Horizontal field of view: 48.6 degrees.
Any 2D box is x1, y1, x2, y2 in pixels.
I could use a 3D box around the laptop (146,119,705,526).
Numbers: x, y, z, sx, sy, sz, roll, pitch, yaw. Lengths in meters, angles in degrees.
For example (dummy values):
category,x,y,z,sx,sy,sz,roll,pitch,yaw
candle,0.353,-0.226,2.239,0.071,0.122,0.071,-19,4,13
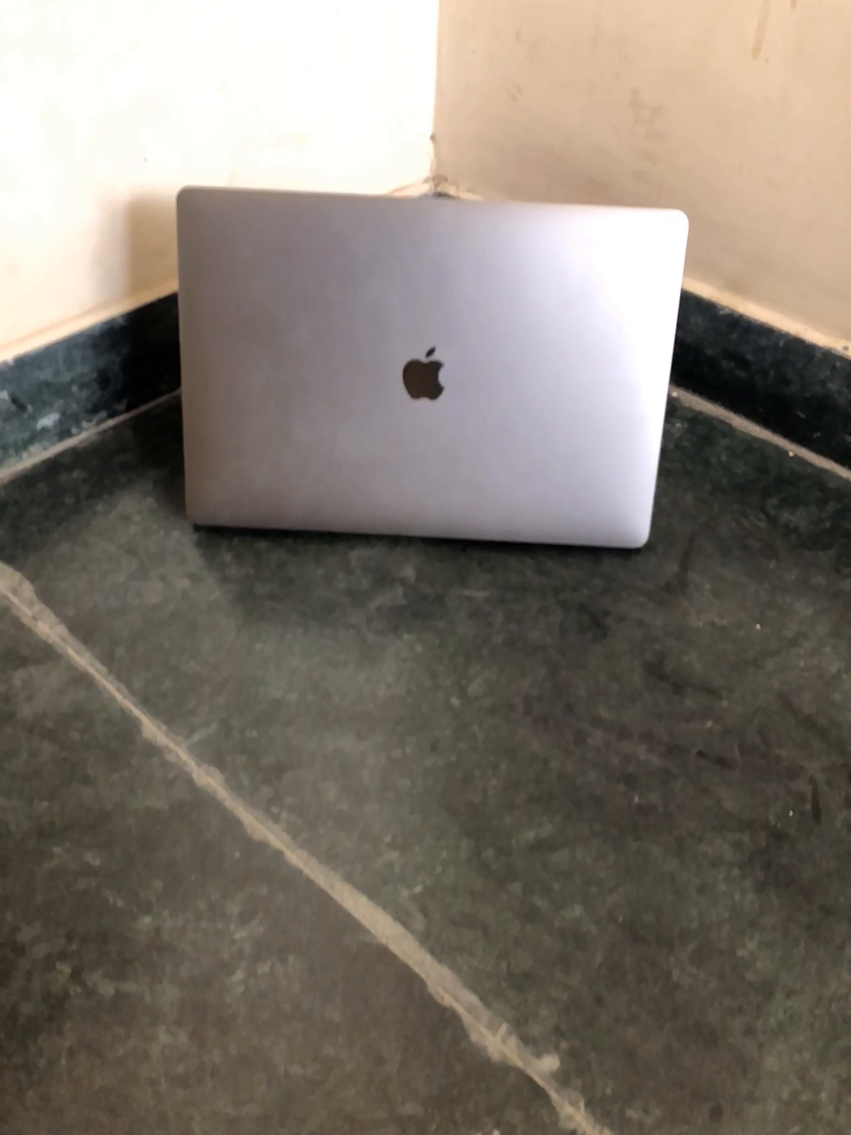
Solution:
category,x,y,z,sx,sy,sz,roll,pitch,yaw
laptop,0.000,-0.186,0.701,0.329,0.198,0.222,3,44,3
